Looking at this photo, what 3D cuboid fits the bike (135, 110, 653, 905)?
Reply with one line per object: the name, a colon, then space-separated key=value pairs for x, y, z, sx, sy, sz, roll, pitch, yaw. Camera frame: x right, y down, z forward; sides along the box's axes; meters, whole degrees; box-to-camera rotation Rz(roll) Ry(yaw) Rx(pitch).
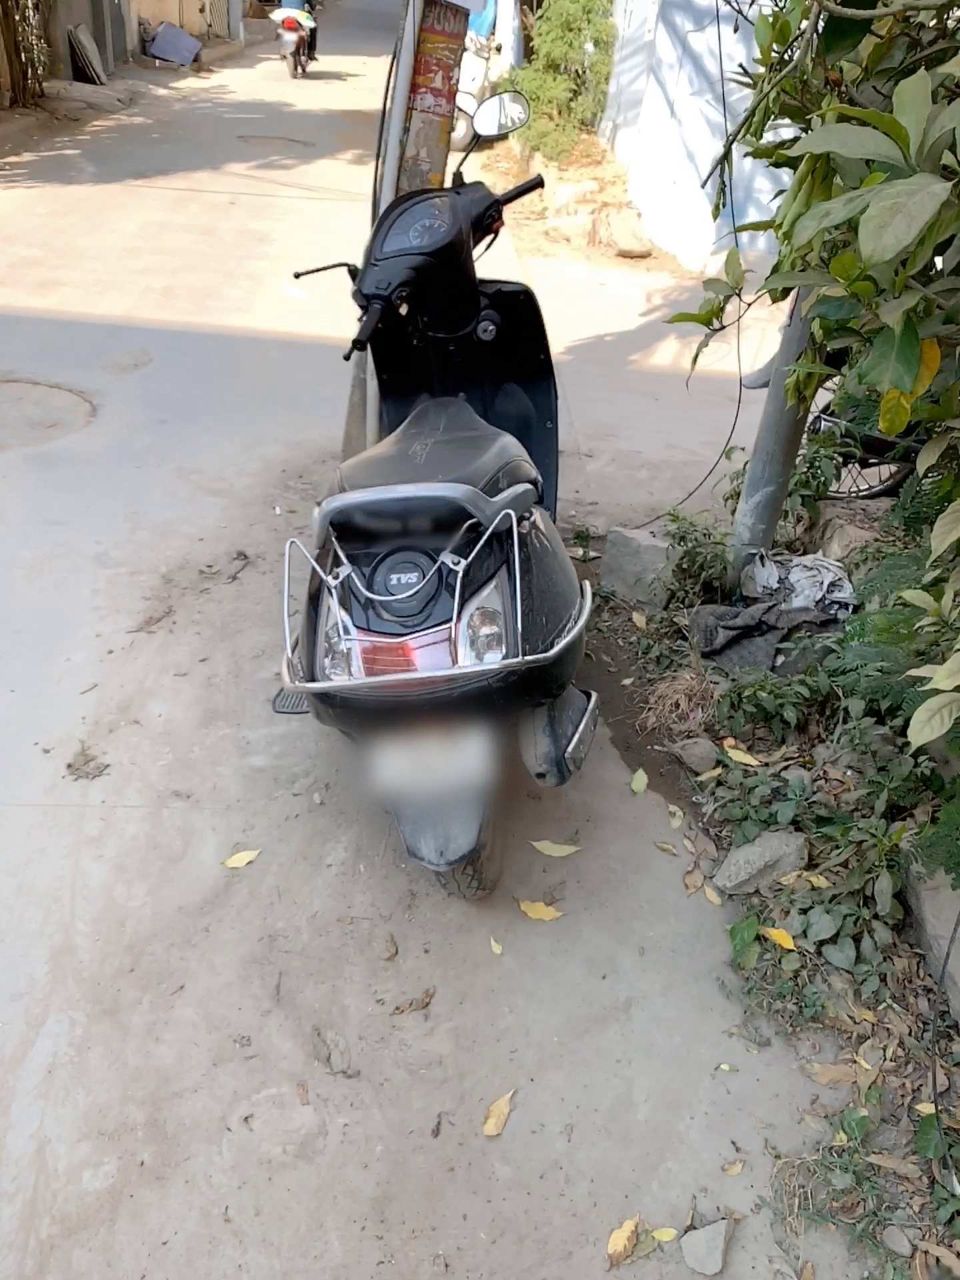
bike: x=-0.142 y=-0.488 z=2.169 sx=0.618 sy=0.943 sz=1.827 roll=4 pitch=34 yaw=-3
